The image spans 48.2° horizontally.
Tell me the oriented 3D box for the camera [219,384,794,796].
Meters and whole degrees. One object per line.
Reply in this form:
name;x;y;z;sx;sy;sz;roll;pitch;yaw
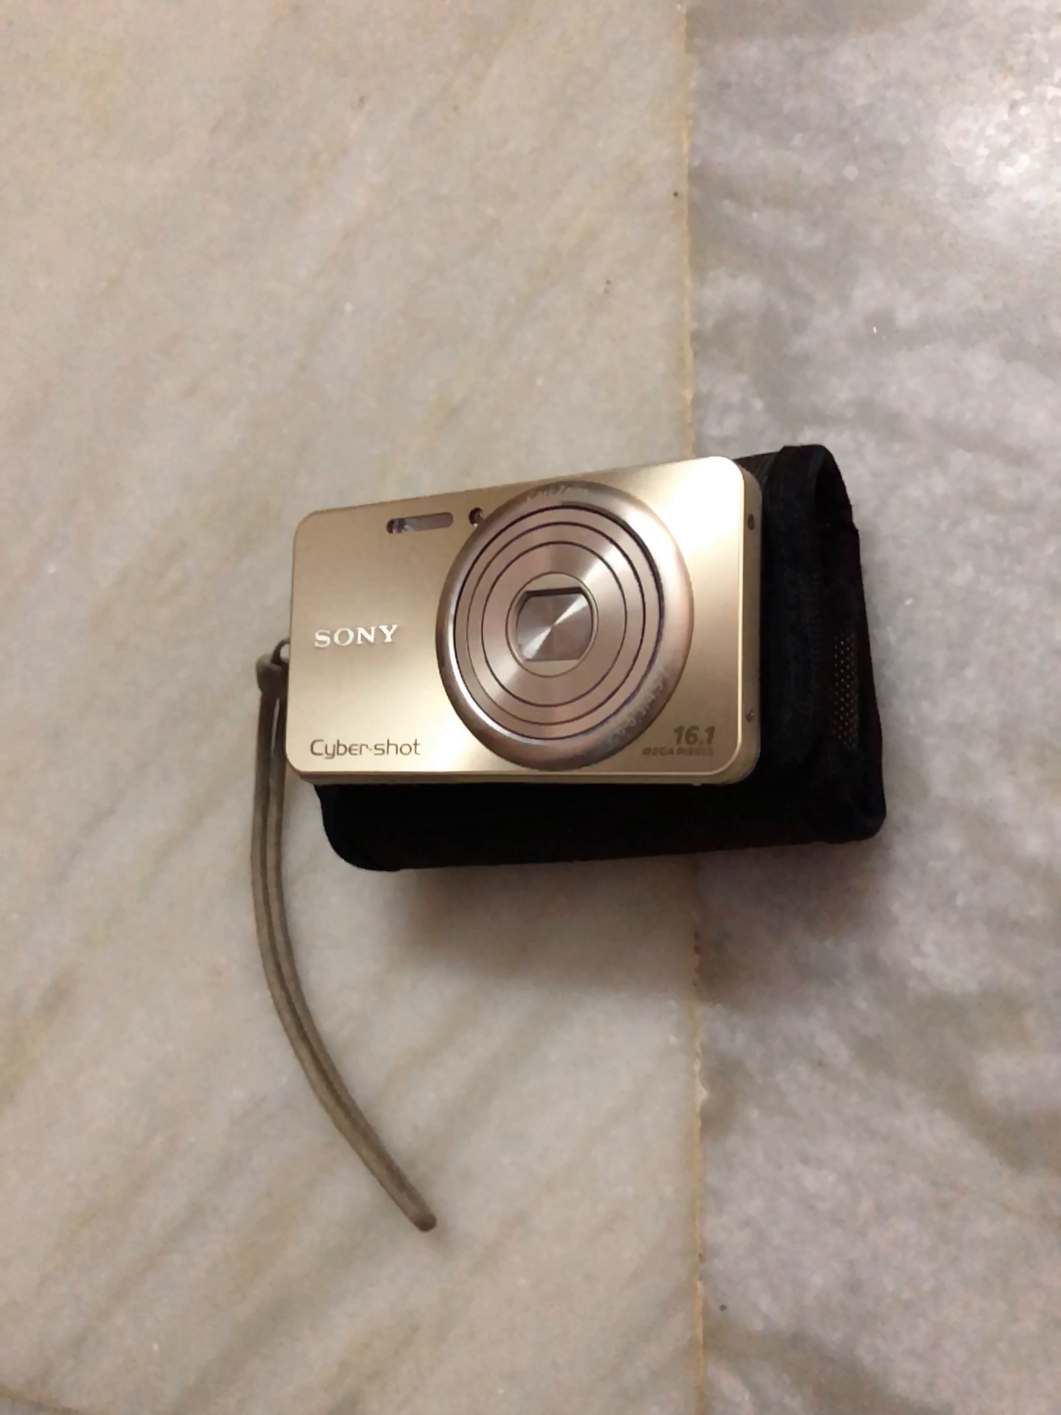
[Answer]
camera;-0.007;-0.015;0.205;0.100;0.020;0.060;-2;81;28
